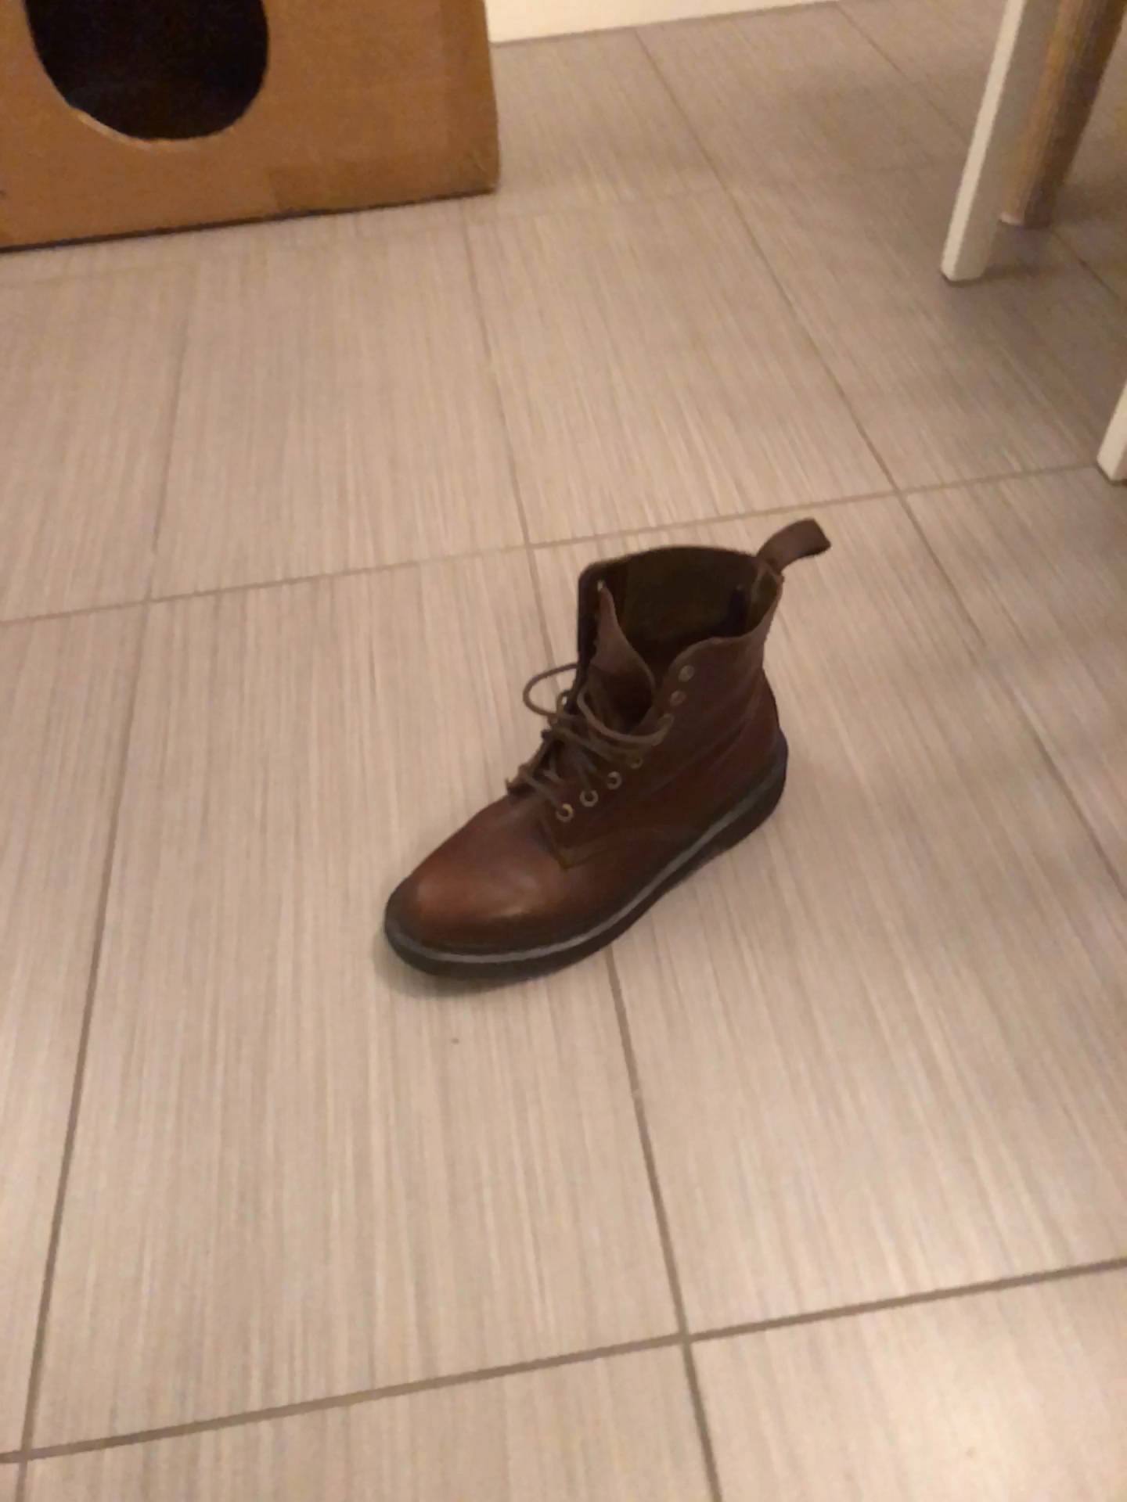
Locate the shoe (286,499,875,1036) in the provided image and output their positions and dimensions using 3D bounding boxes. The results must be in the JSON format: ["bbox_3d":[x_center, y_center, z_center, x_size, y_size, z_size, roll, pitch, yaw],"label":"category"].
[{"bbox_3d":[0.016,0.007,0.693,0.282,0.180,0.116,-24,49,-16],"label":"shoe"}]
